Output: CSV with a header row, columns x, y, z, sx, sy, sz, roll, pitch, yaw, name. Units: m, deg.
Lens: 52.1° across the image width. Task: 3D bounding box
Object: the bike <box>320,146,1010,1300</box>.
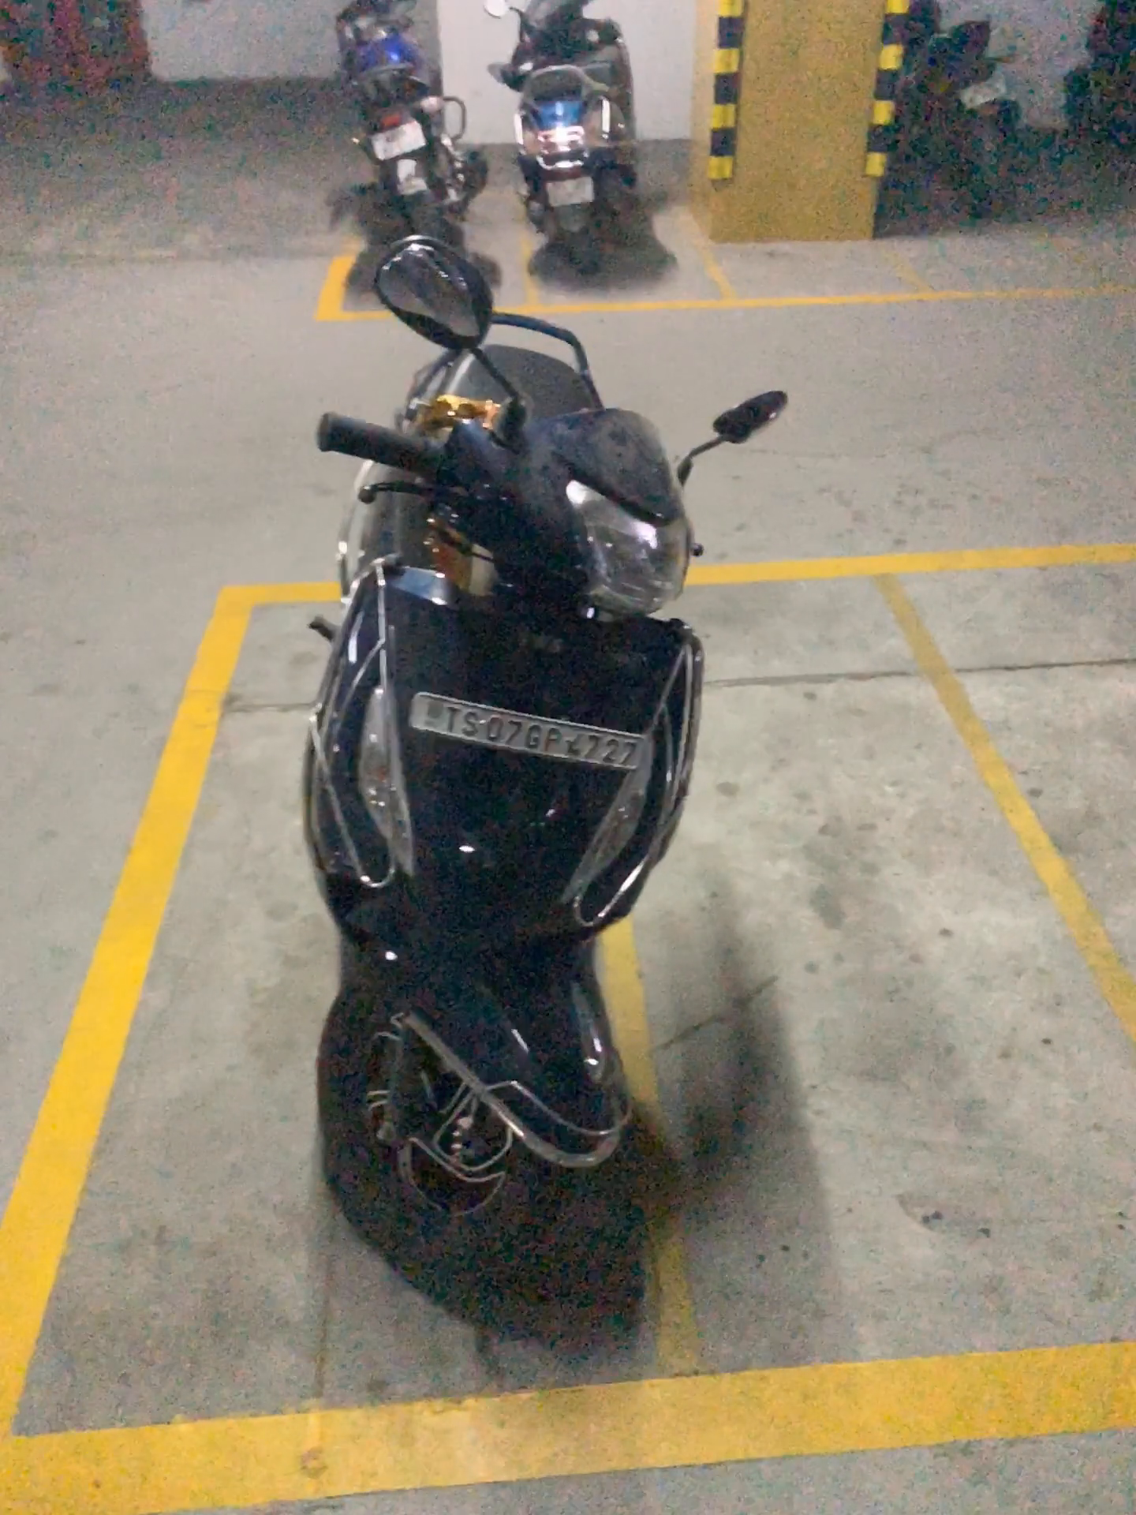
x,y,z,sx,sy,sz,roll,pitch,yaw,name
-0.018,-0.227,2.026,0.664,1.028,1.702,-5,42,-6,bike
